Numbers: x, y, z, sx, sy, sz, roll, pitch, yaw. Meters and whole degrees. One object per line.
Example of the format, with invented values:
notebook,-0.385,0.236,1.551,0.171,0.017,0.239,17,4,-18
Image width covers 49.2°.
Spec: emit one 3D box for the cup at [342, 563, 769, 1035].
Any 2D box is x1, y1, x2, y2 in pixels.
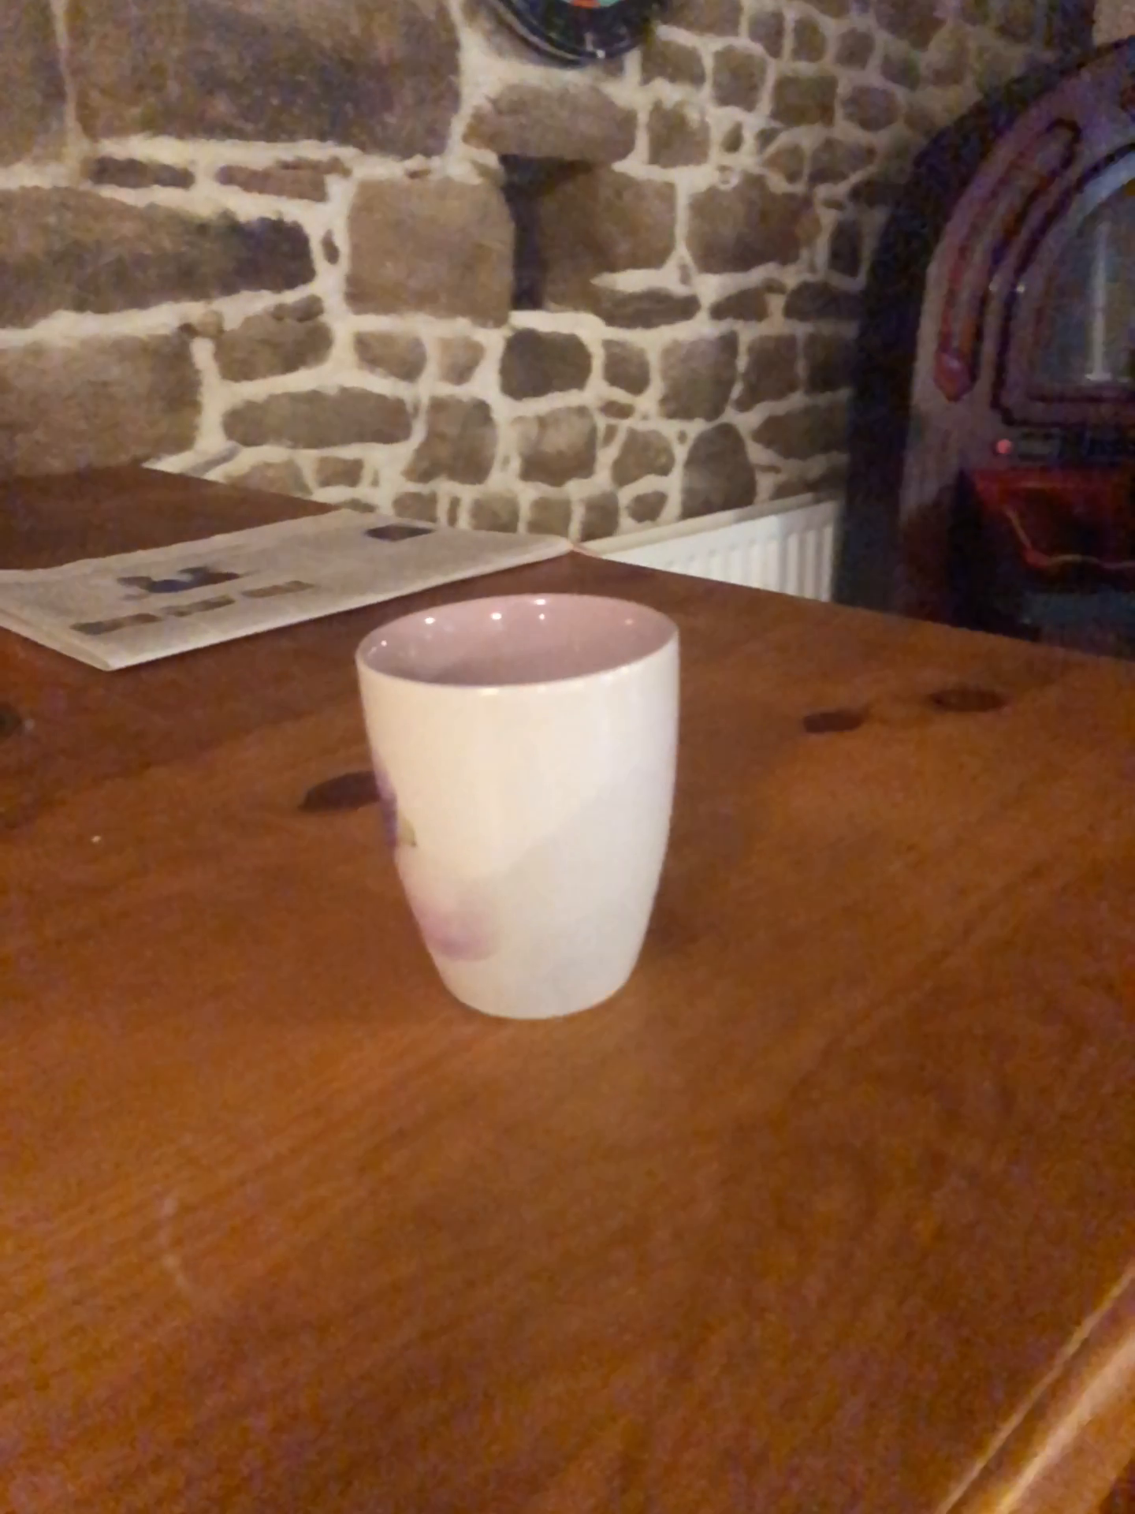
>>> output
cup,-0.010,0.004,0.381,0.100,0.095,0.120,-6,21,-13
